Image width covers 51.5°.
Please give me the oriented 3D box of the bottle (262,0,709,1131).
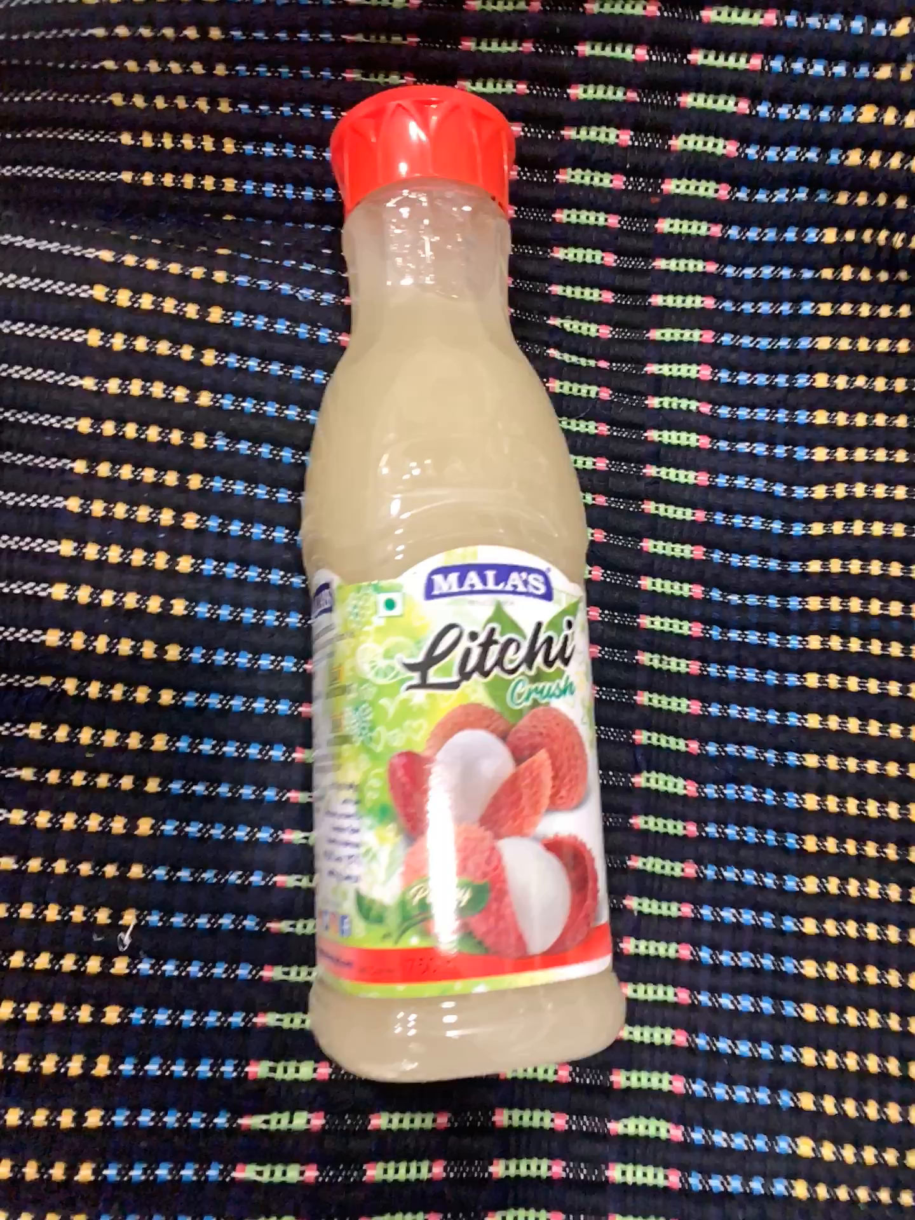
[{"bbox_3d":[-0.004,-0.030,0.237,0.080,0.080,0.260,0,81,-15],"label":"bottle"}]
